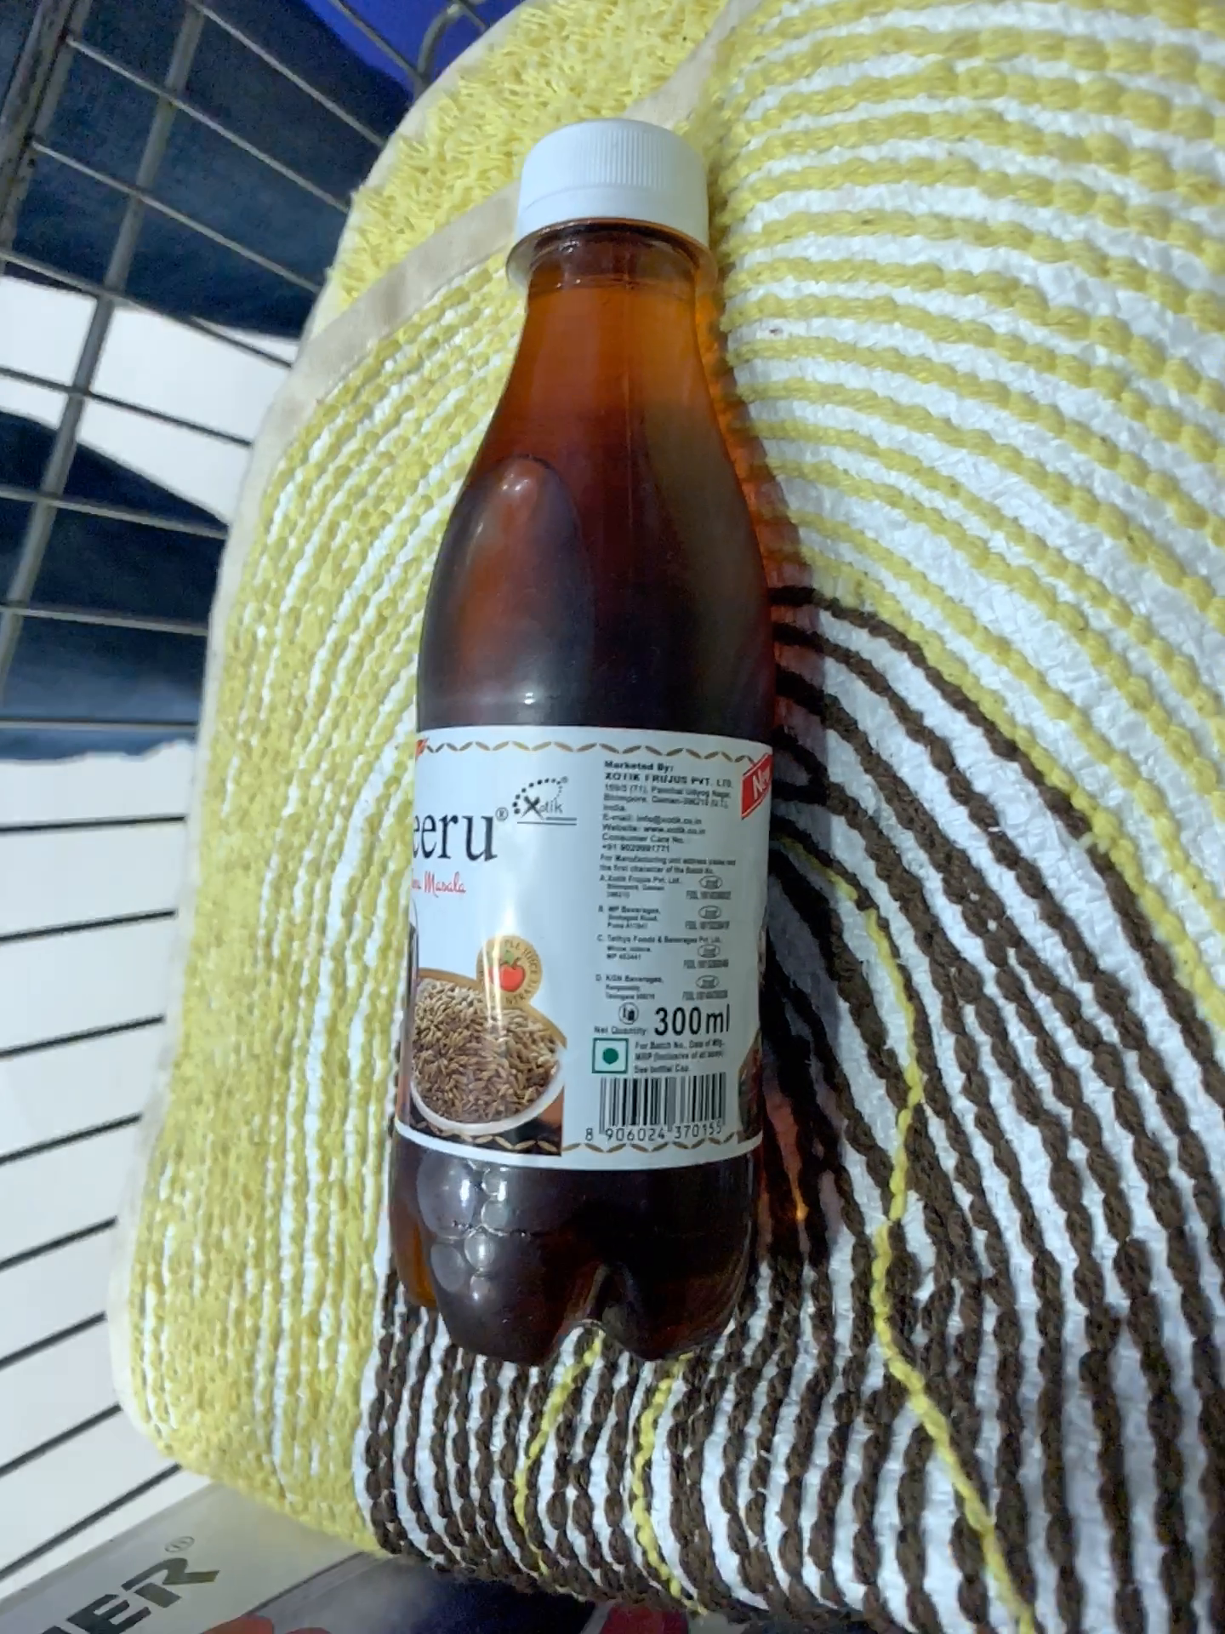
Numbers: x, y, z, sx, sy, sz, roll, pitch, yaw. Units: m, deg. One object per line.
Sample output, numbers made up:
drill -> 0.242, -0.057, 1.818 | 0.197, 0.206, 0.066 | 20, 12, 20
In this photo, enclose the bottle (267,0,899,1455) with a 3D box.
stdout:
bottle -> -0.004, -0.017, 0.189 | 0.060, 0.060, 0.180 | 1, 88, 48
